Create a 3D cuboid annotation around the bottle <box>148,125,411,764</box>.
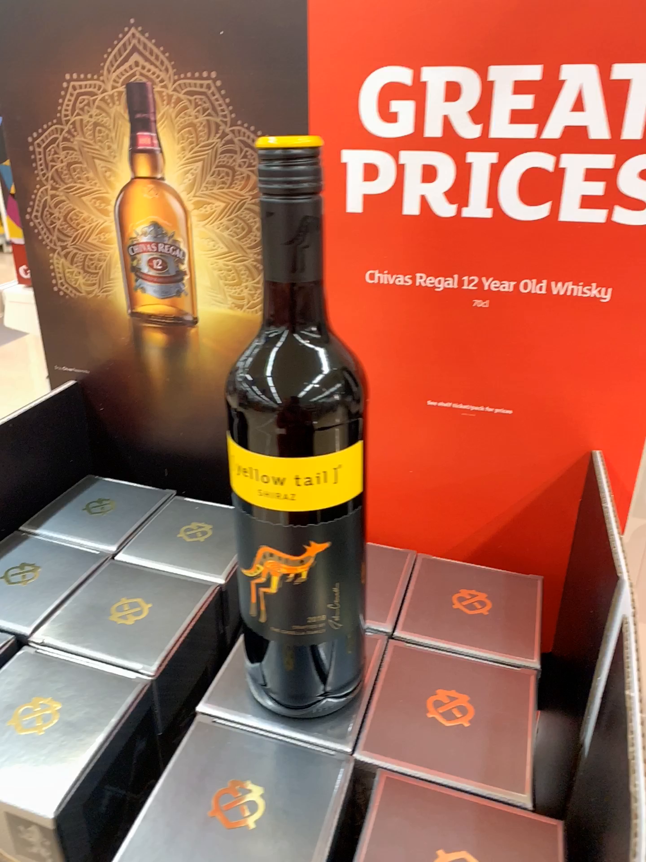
[{"bbox_3d":[-0.013,0.017,0.334,0.086,0.307,0.082,0,25,0],"label":"bottle"}]
